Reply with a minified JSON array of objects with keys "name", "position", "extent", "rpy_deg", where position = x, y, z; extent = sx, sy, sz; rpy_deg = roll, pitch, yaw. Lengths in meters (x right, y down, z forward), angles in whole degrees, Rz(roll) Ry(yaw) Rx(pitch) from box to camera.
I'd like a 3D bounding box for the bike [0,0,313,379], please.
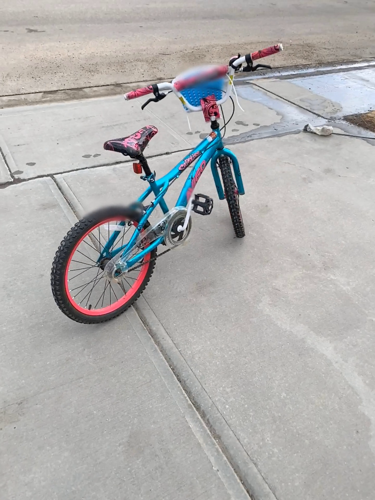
[{"name":"bike","position":[-0.157,-0.396,1.657],"extent":[0.745,0.946,1.261],"rpy_deg":[27,47,24]}]
